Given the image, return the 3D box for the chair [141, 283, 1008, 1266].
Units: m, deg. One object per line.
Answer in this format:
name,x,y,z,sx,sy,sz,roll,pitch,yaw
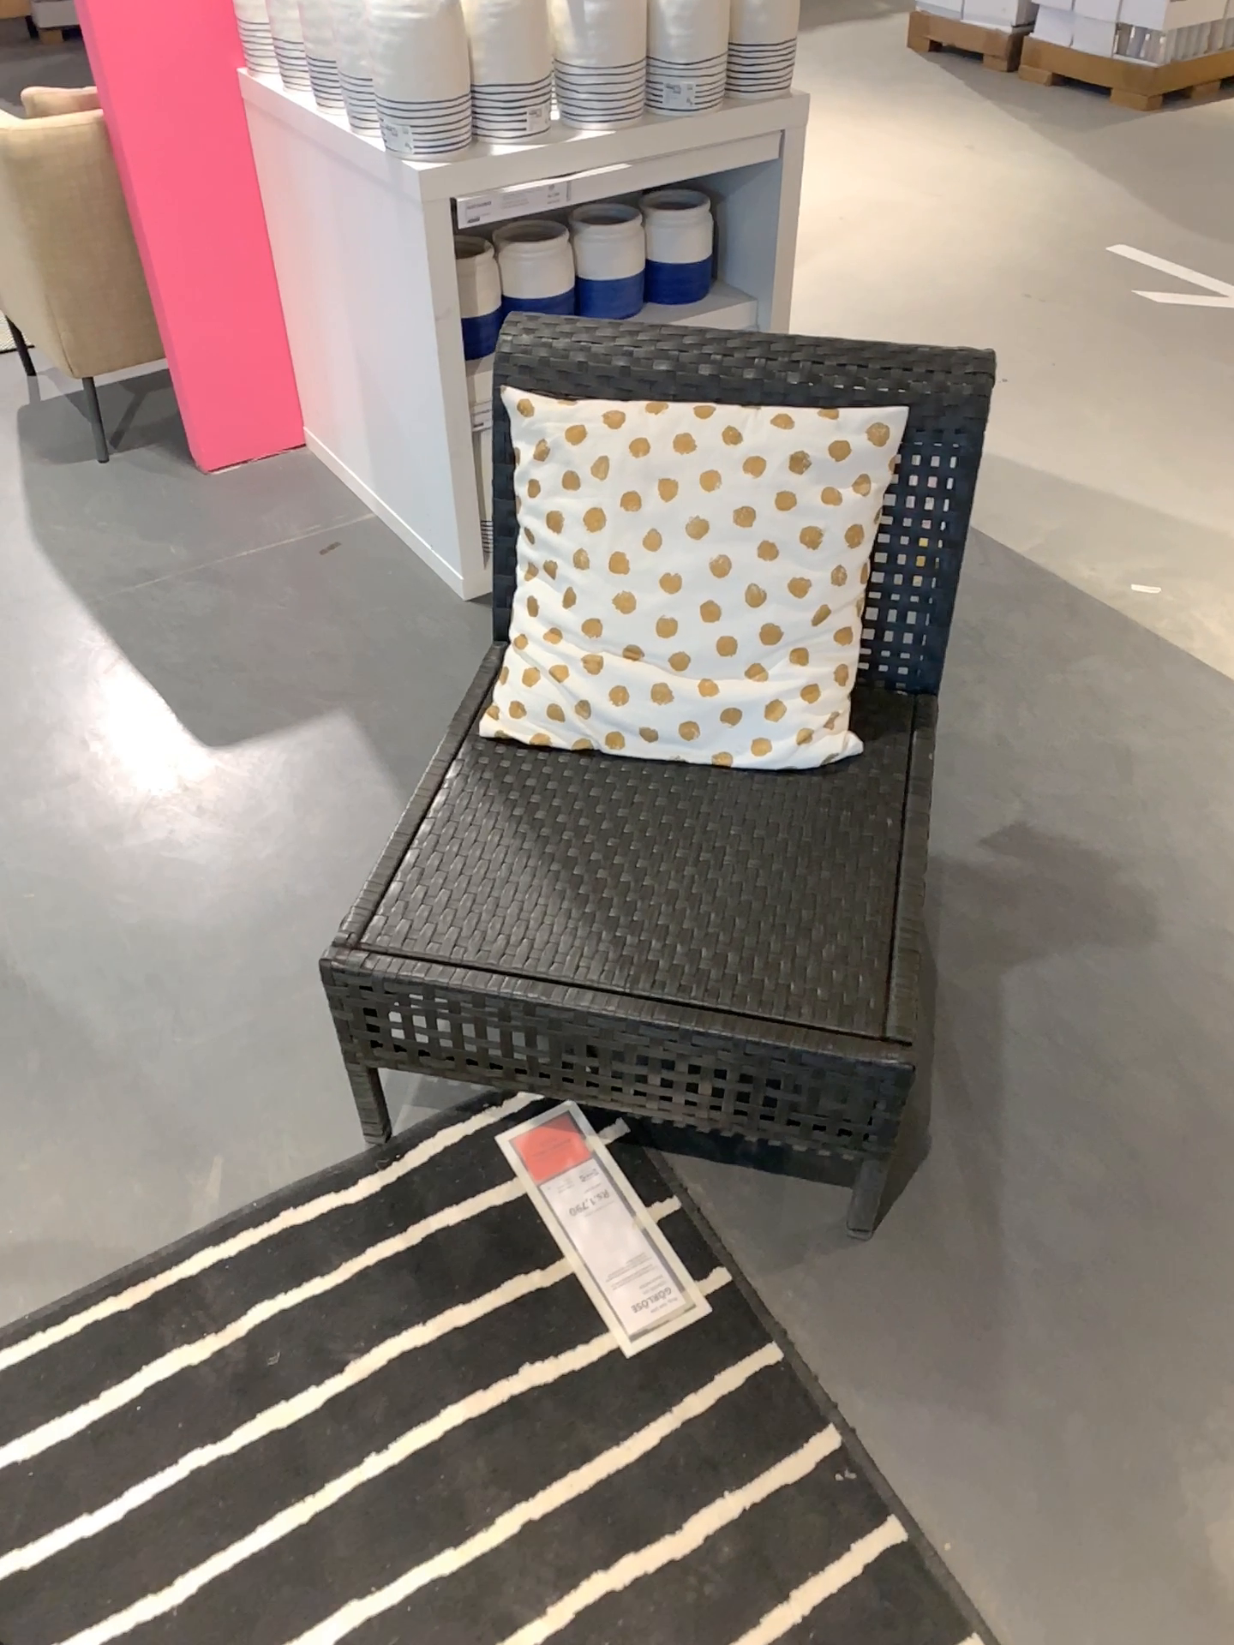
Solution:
chair,0.037,-0.087,1.530,0.700,0.797,0.783,9,43,10
